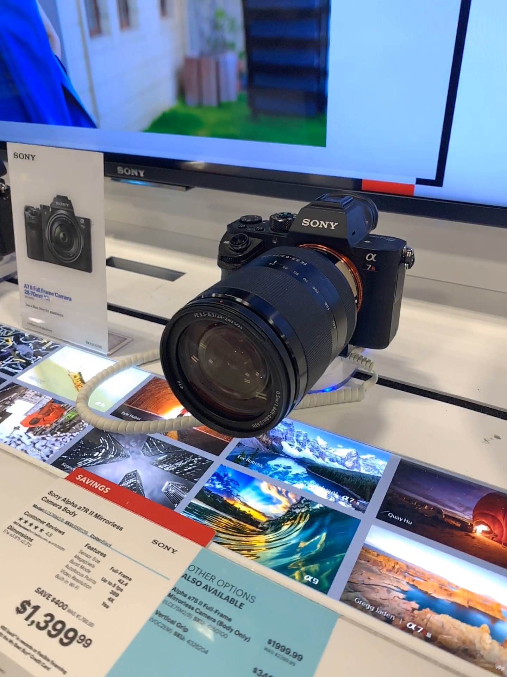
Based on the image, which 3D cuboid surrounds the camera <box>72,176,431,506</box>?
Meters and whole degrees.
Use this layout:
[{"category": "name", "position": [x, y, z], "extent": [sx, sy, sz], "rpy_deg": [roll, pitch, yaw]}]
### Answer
[{"category": "camera", "position": [0.013, -0.019, 0.312], "extent": [0.130, 0.099, 0.173], "rpy_deg": [14, 35, 25]}]
